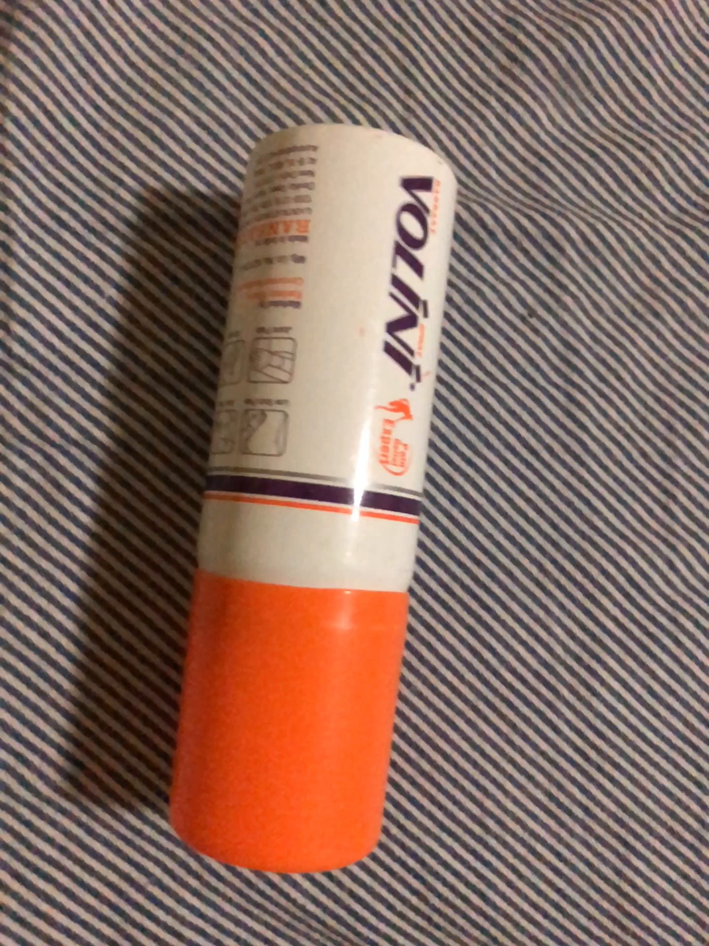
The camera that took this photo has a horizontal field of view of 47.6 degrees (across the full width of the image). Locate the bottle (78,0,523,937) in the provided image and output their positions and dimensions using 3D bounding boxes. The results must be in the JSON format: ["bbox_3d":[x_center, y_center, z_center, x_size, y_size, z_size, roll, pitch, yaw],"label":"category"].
[{"bbox_3d":[-0.008,-0.003,0.127,0.040,0.040,0.120,10,85,-41],"label":"bottle"}]
